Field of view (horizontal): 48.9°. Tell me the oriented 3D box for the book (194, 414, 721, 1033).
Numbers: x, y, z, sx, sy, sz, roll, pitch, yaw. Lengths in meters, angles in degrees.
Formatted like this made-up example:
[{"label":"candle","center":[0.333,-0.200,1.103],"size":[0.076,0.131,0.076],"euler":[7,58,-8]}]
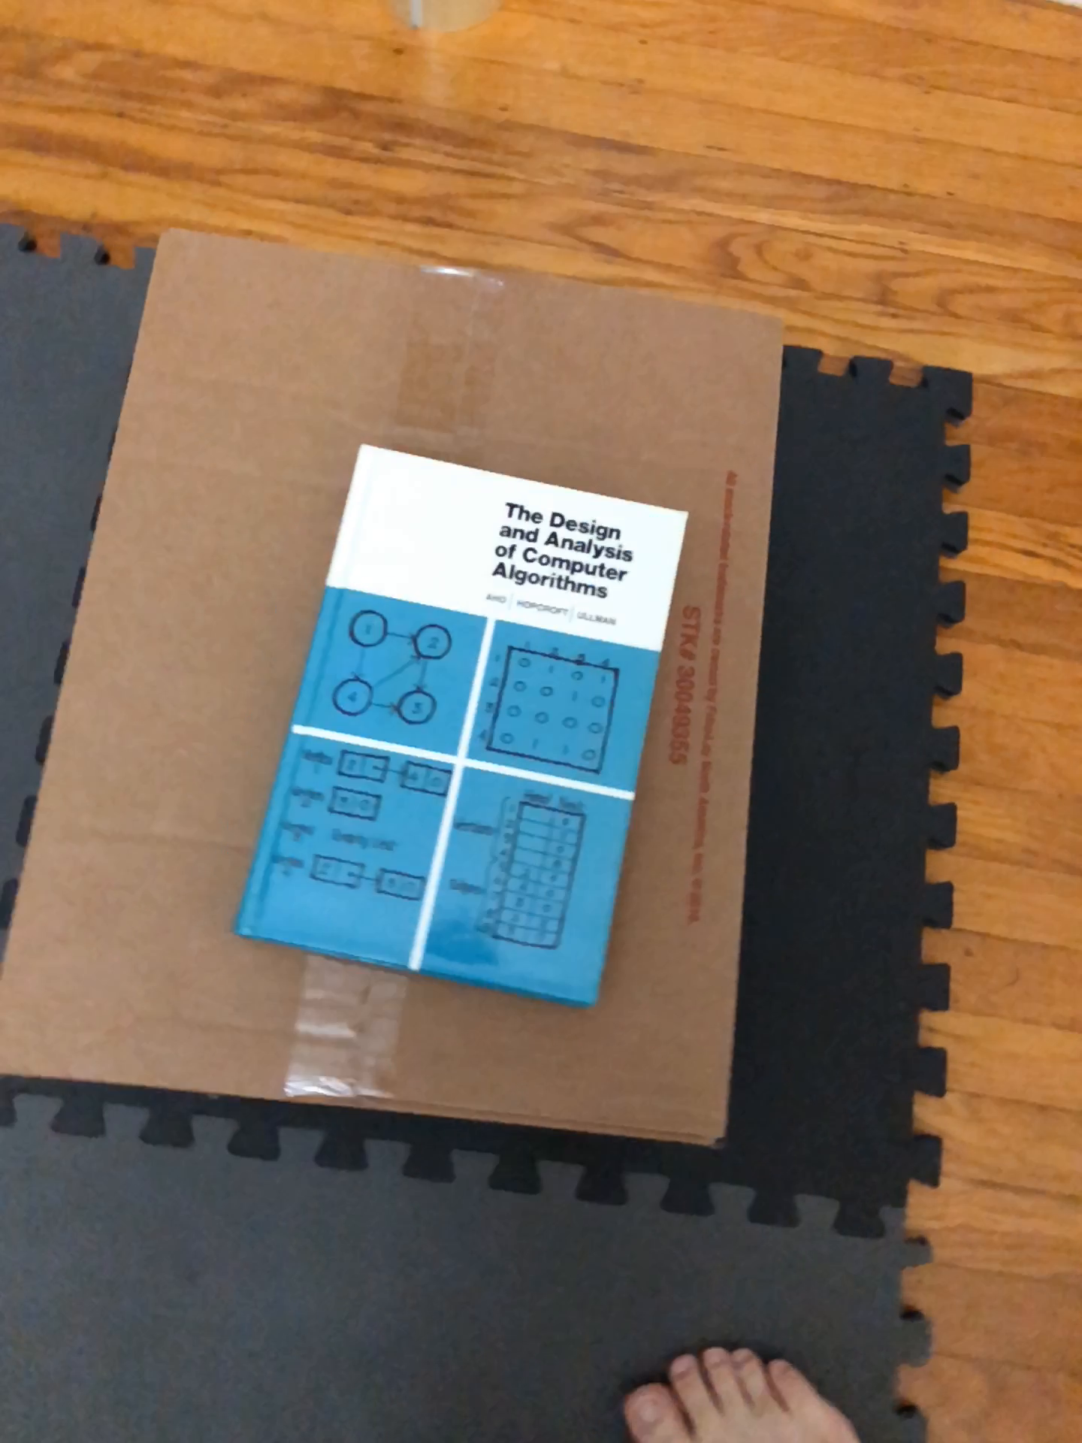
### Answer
[{"label":"book","center":[-0.033,-0.003,0.573],"size":[0.190,0.040,0.260],"euler":[13,75,0]}]
